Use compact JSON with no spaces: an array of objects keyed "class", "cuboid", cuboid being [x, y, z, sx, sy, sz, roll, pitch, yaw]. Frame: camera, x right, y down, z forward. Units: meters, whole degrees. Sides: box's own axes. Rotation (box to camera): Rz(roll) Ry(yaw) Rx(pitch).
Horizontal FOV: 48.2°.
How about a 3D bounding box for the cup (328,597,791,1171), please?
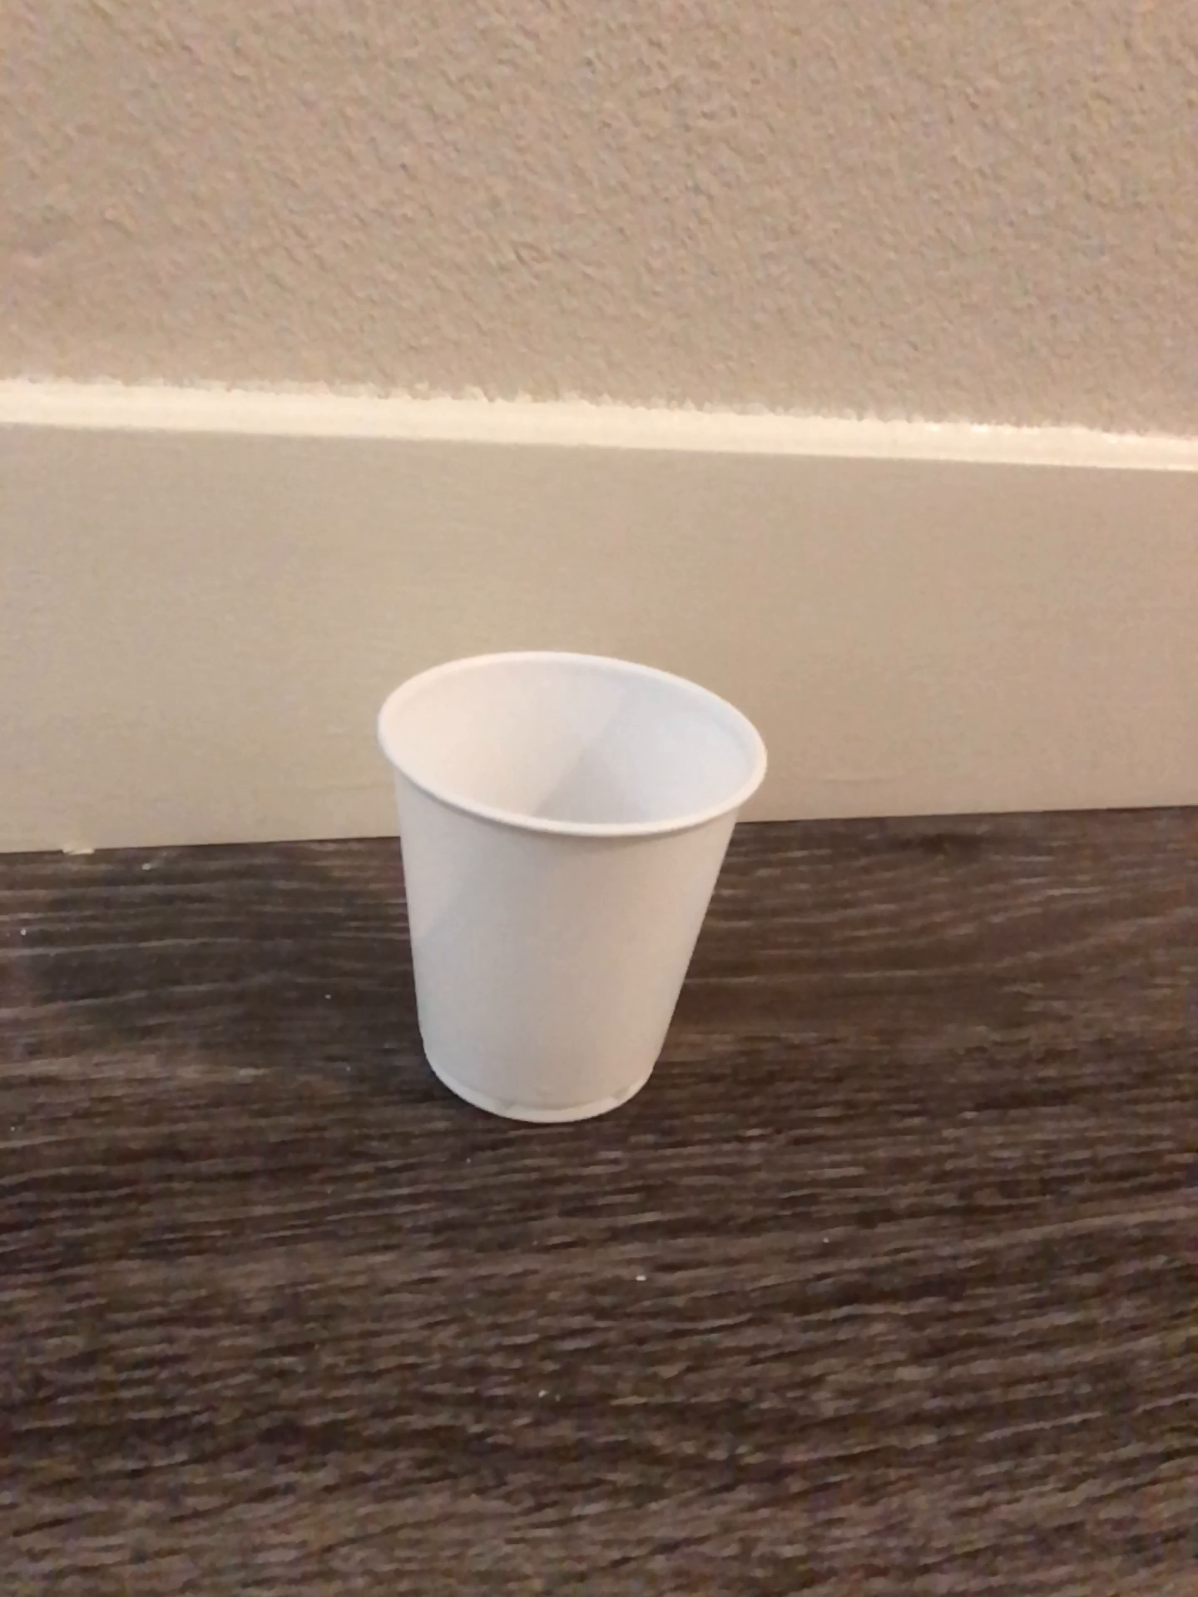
[{"class":"cup","cuboid":[-0.004,0.011,0.213,0.060,0.060,0.060,5,28,-3]}]
